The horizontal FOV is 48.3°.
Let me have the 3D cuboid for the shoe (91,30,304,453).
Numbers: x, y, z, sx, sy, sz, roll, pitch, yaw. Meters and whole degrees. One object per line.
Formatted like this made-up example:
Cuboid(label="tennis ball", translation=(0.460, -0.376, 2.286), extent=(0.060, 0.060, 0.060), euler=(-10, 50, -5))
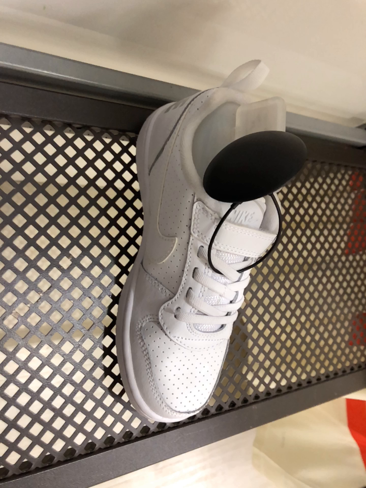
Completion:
Cuboid(label="shoe", translation=(0.006, 0.001, 0.252), extent=(0.080, 0.099, 0.200), euler=(8, 78, -32))
